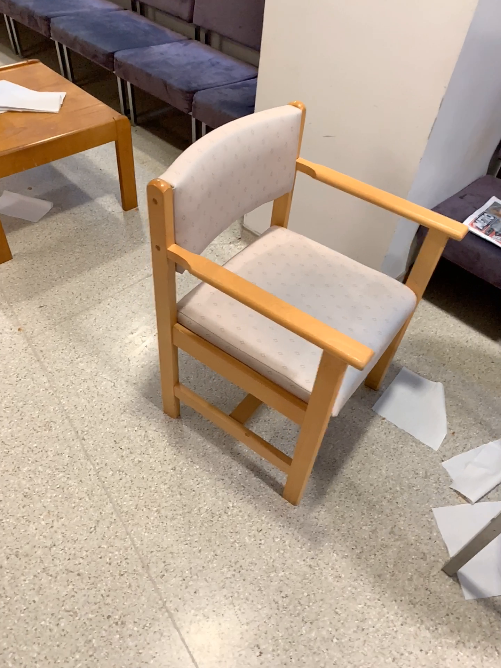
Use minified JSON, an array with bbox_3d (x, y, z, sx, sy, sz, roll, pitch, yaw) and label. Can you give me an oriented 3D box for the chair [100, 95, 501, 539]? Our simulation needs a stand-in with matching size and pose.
[{"bbox_3d":[0.130,-0.072,1.243,0.632,0.634,0.634,32,51,21],"label":"chair"}]
